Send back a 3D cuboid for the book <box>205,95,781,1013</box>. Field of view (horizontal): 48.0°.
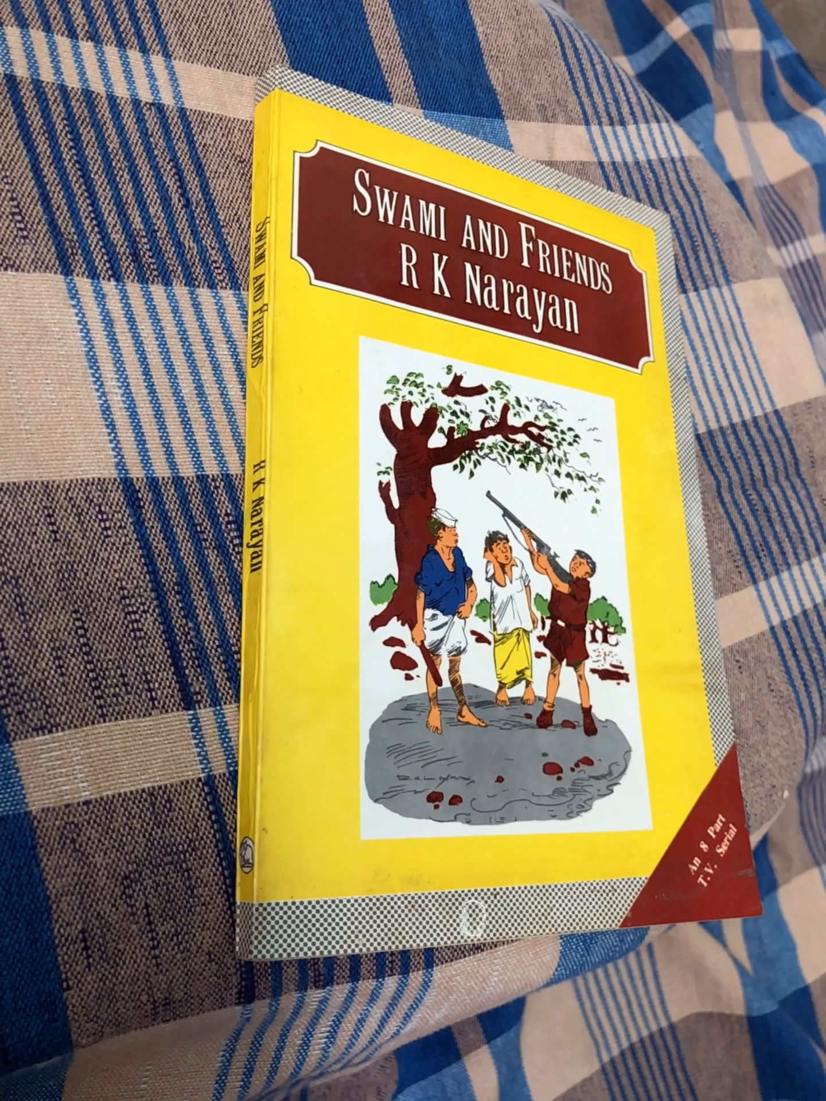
[{"bbox_3d":[0.021,-0.003,0.222,0.130,0.020,0.190,8,71,-27],"label":"book"}]
